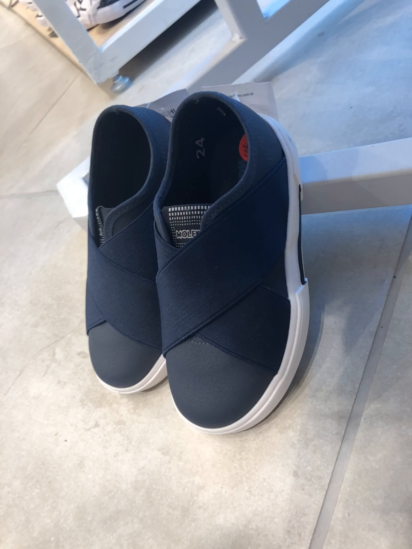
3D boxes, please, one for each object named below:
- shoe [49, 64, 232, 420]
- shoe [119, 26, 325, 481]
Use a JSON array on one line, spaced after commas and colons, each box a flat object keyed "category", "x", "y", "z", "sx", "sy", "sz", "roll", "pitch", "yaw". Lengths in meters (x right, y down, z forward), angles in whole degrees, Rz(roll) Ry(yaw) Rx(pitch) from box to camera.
[{"category": "shoe", "x": -0.037, "y": -0.017, "z": 0.279, "sx": 0.070, "sy": 0.070, "sz": 0.180, "roll": 3, "pitch": 88, "yaw": 32}, {"category": "shoe", "x": 0.011, "y": -0.009, "z": 0.230, "sx": 0.070, "sy": 0.070, "sz": 0.180, "roll": -1, "pitch": 85, "yaw": 36}]
